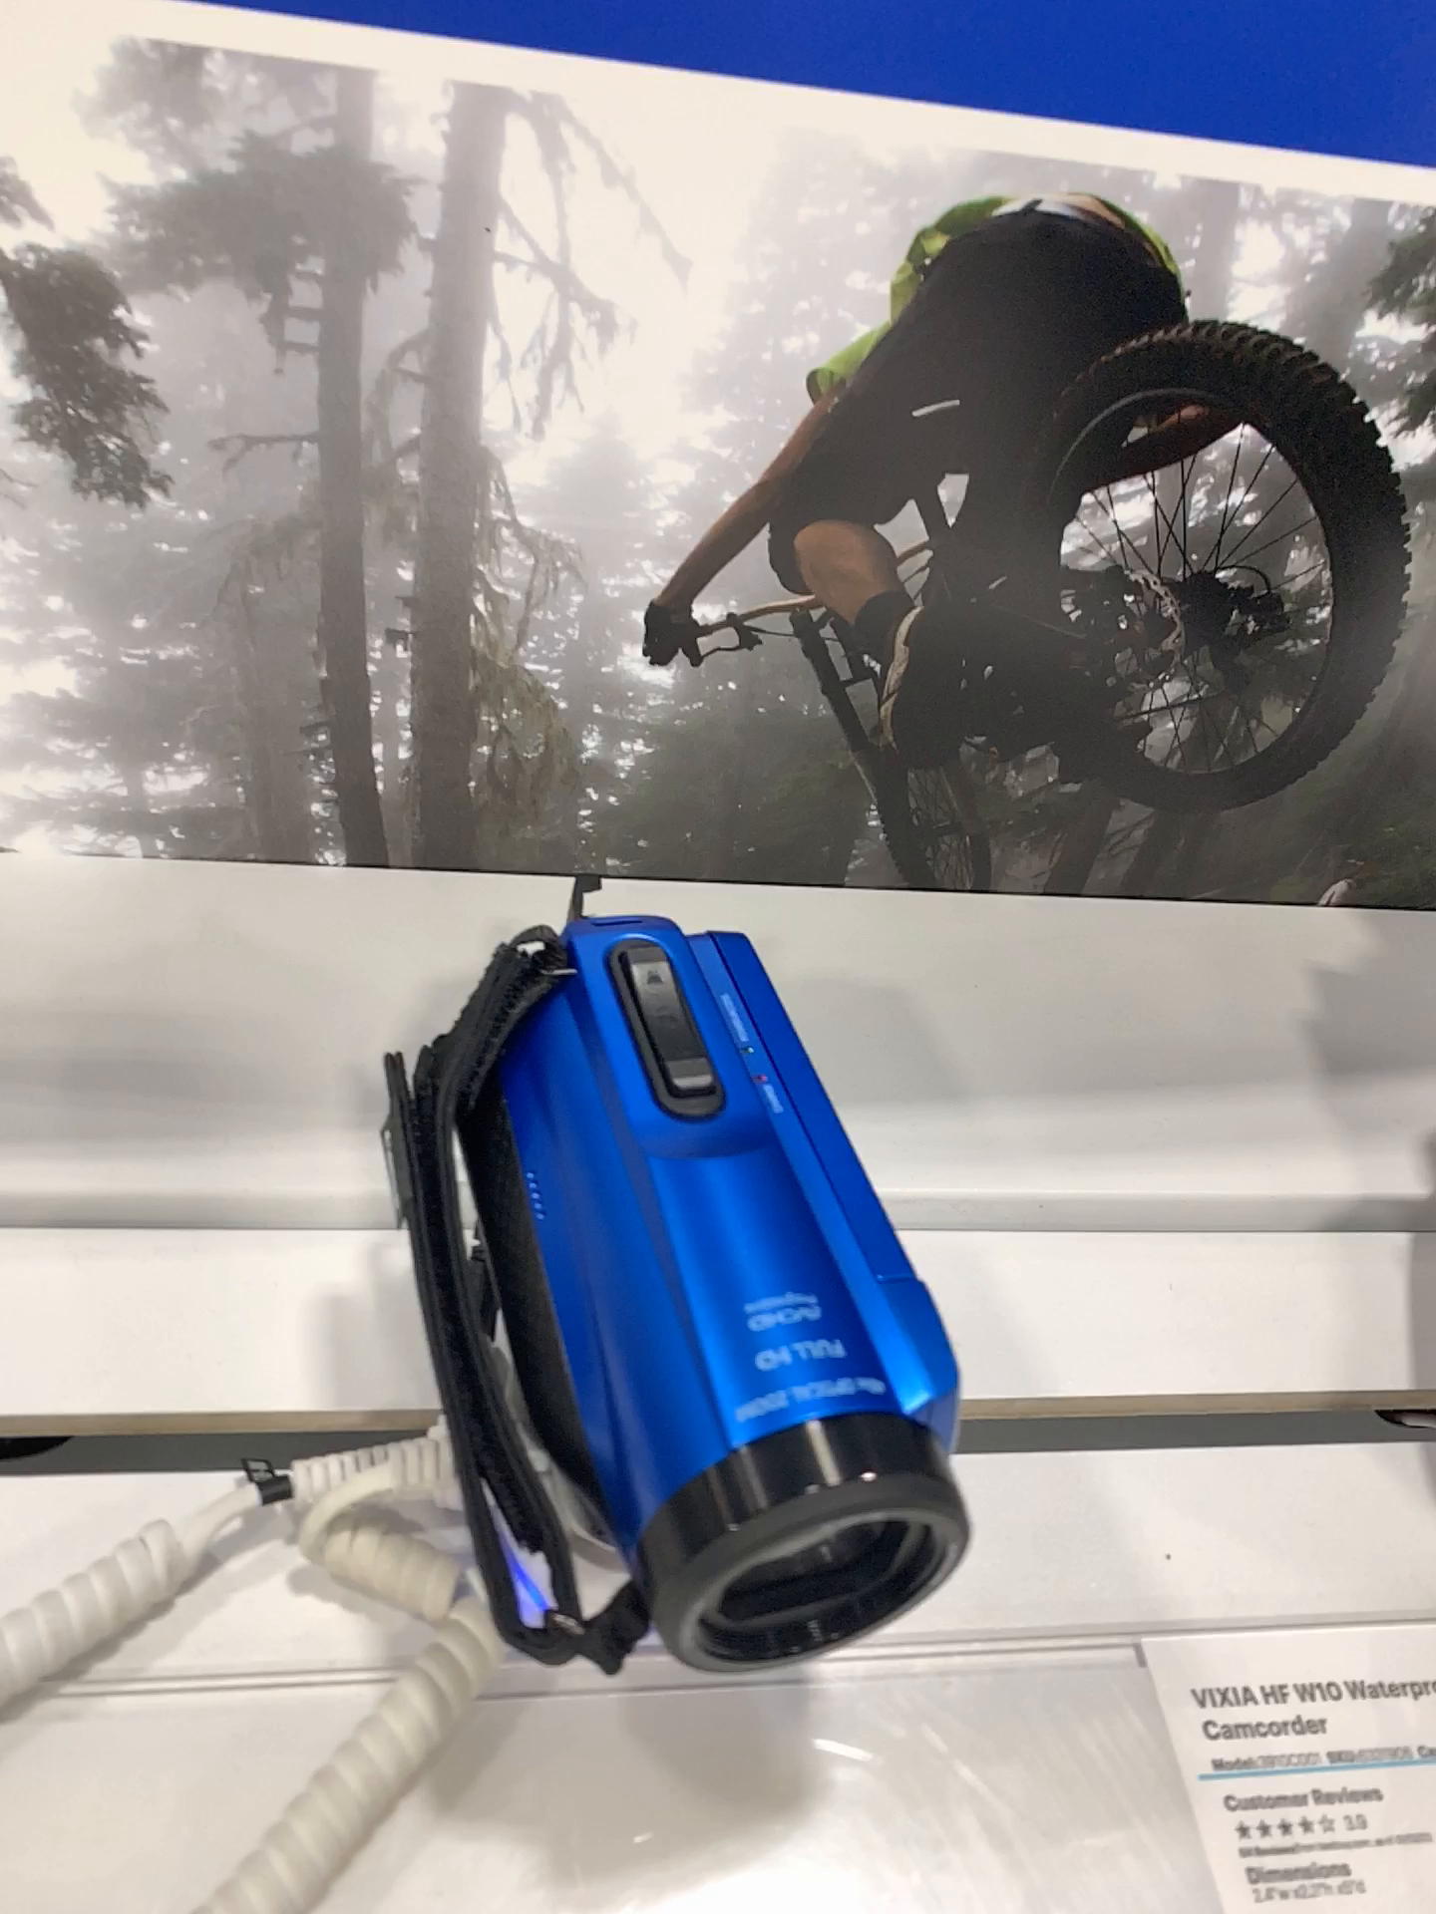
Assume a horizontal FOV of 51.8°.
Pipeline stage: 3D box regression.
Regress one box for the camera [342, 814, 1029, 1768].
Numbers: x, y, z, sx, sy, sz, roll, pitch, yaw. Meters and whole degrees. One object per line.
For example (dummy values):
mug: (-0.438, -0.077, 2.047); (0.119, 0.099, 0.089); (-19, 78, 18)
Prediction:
camera: (-0.018, 0.044, 0.254); (0.072, 0.057, 0.144); (-5, 44, -19)
